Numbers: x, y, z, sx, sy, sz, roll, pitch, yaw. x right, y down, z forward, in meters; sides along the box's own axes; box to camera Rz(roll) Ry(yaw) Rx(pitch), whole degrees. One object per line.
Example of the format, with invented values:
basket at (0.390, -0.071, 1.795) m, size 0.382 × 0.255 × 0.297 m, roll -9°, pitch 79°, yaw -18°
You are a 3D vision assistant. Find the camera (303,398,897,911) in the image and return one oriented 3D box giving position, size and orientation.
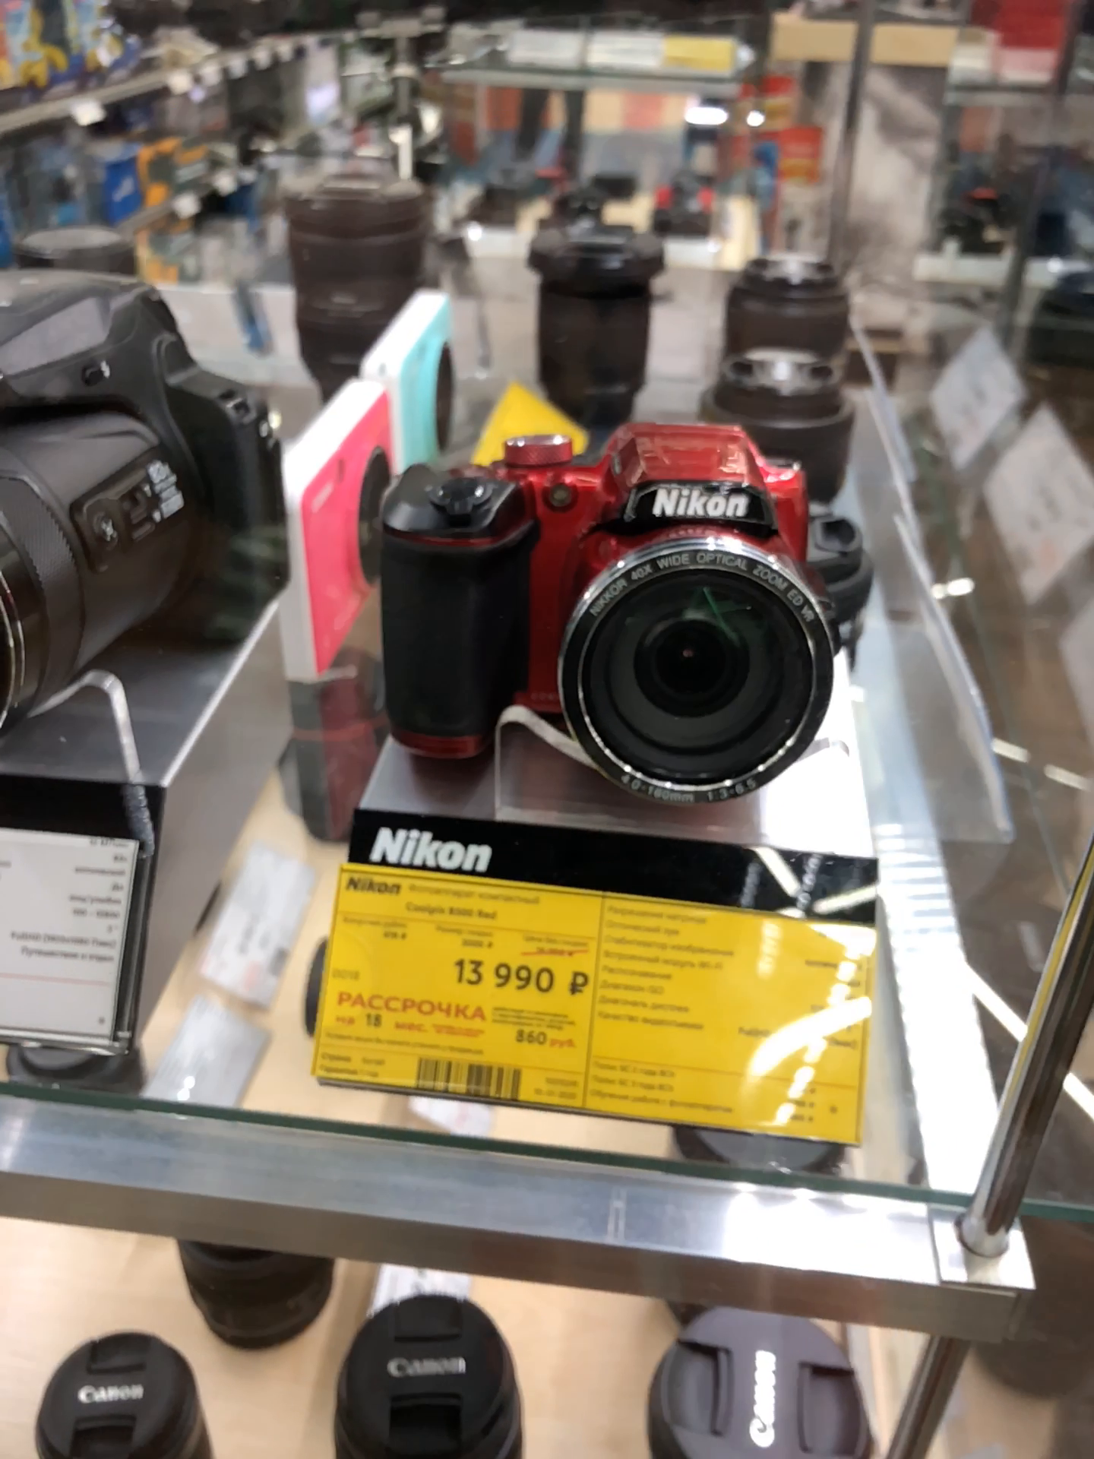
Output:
camera at (0.016, -0.026, 0.314) m, size 0.120 × 0.076 × 0.111 m, roll 5°, pitch 33°, yaw 5°
